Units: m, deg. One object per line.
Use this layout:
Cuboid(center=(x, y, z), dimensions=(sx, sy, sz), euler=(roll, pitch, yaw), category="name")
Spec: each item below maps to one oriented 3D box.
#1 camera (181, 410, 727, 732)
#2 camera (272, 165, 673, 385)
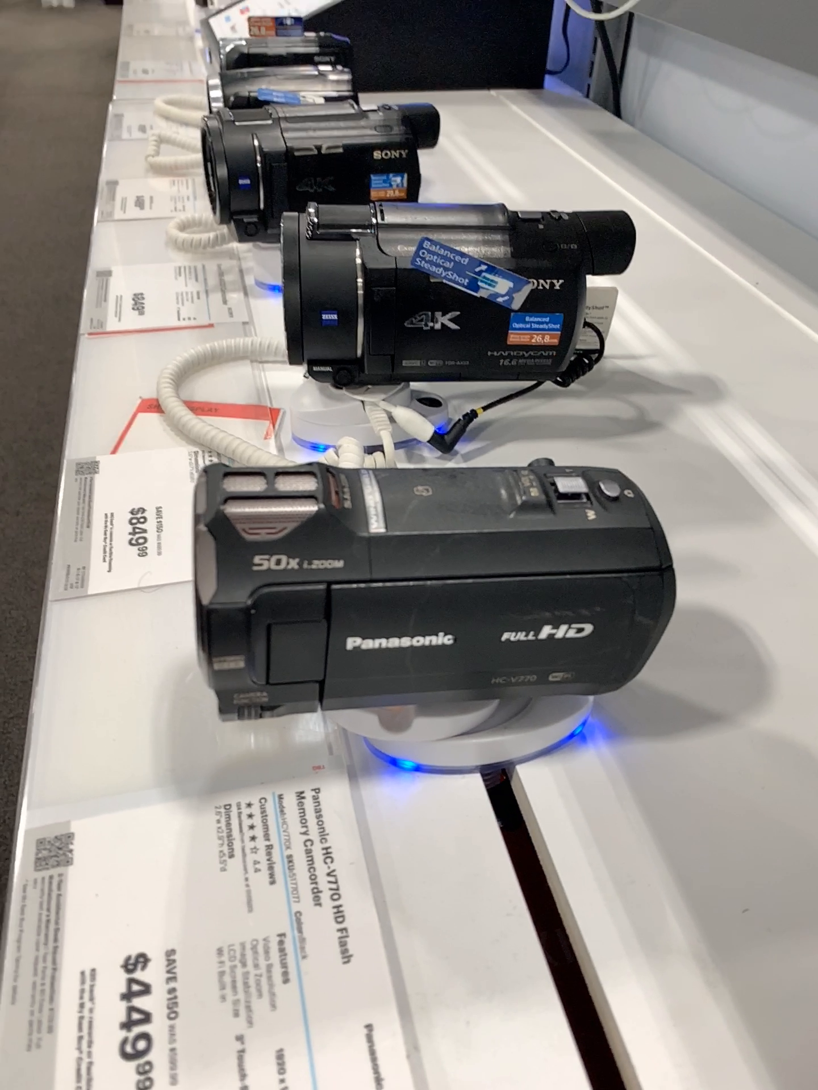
Cuboid(center=(0.006, 0.004, 0.249), dimensions=(0.139, 0.061, 0.065), euler=(-2, 41, -13), category="camera")
Cuboid(center=(0.022, -0.125, 0.393), dimensions=(0.166, 0.073, 0.071), euler=(-2, 41, -9), category="camera")
